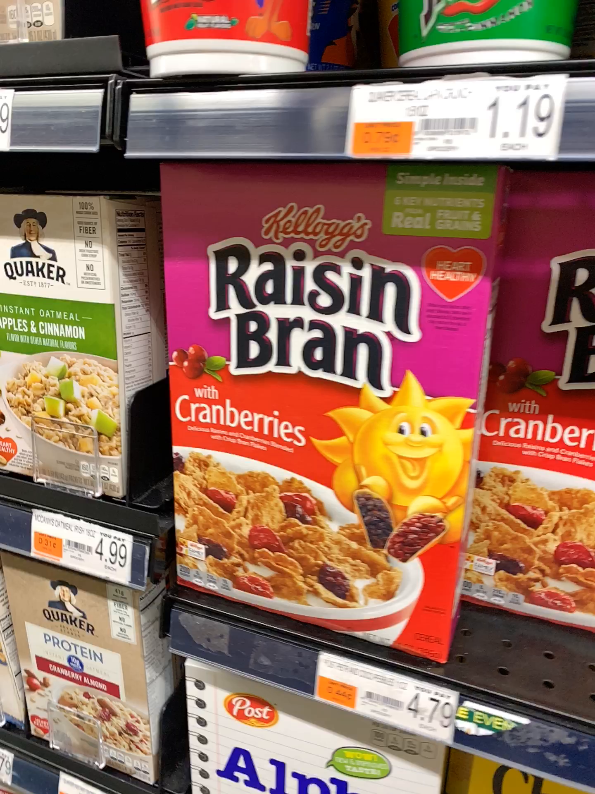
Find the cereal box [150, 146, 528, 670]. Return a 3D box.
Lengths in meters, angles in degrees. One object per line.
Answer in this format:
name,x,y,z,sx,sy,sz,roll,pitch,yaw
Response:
cereal box,0.016,0.002,0.381,0.200,0.289,0.060,9,19,22
